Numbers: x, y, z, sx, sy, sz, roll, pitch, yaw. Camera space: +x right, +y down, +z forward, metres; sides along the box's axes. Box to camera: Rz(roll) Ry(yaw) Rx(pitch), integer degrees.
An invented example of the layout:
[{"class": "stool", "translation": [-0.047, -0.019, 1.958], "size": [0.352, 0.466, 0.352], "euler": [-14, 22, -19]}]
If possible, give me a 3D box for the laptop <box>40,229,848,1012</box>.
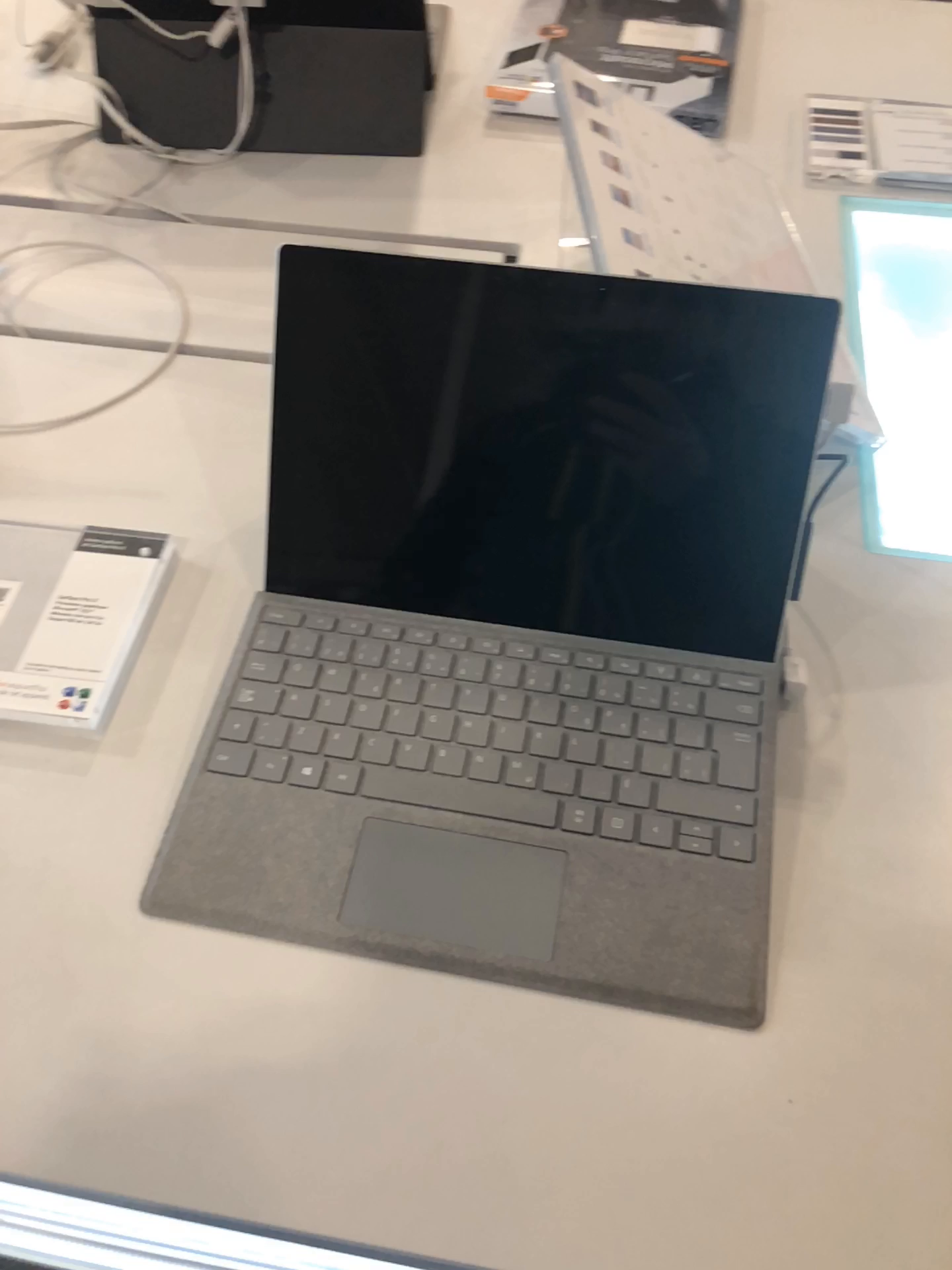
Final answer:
[{"class": "laptop", "translation": [0.011, -0.021, 0.497], "size": [0.278, 0.147, 0.298], "euler": [8, 56, 7]}]
